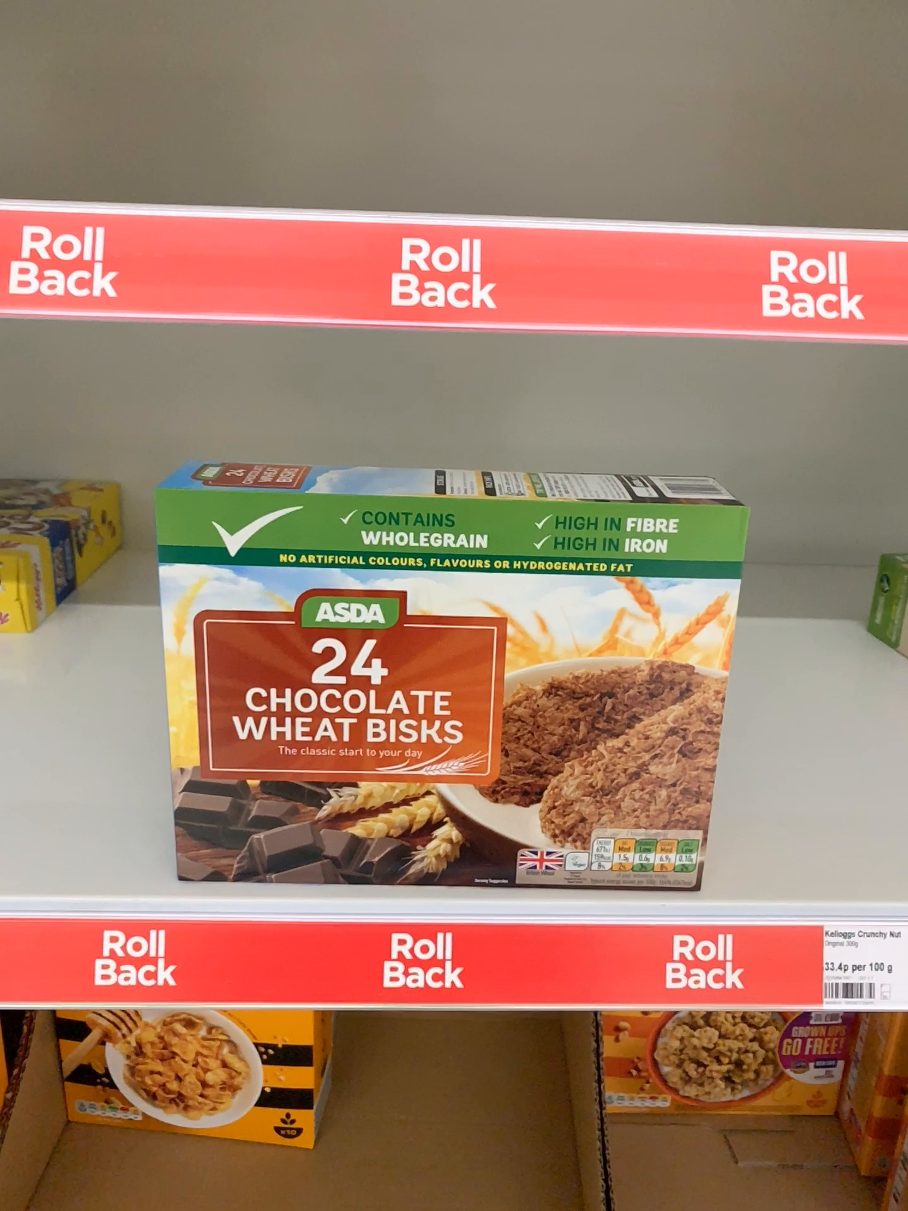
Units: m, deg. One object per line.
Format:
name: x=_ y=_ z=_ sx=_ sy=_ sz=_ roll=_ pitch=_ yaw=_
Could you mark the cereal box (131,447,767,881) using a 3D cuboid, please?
cereal box: x=-0.004 y=0.027 z=0.430 sx=0.250 sy=0.179 sz=0.071 roll=1 pitch=19 yaw=-2
